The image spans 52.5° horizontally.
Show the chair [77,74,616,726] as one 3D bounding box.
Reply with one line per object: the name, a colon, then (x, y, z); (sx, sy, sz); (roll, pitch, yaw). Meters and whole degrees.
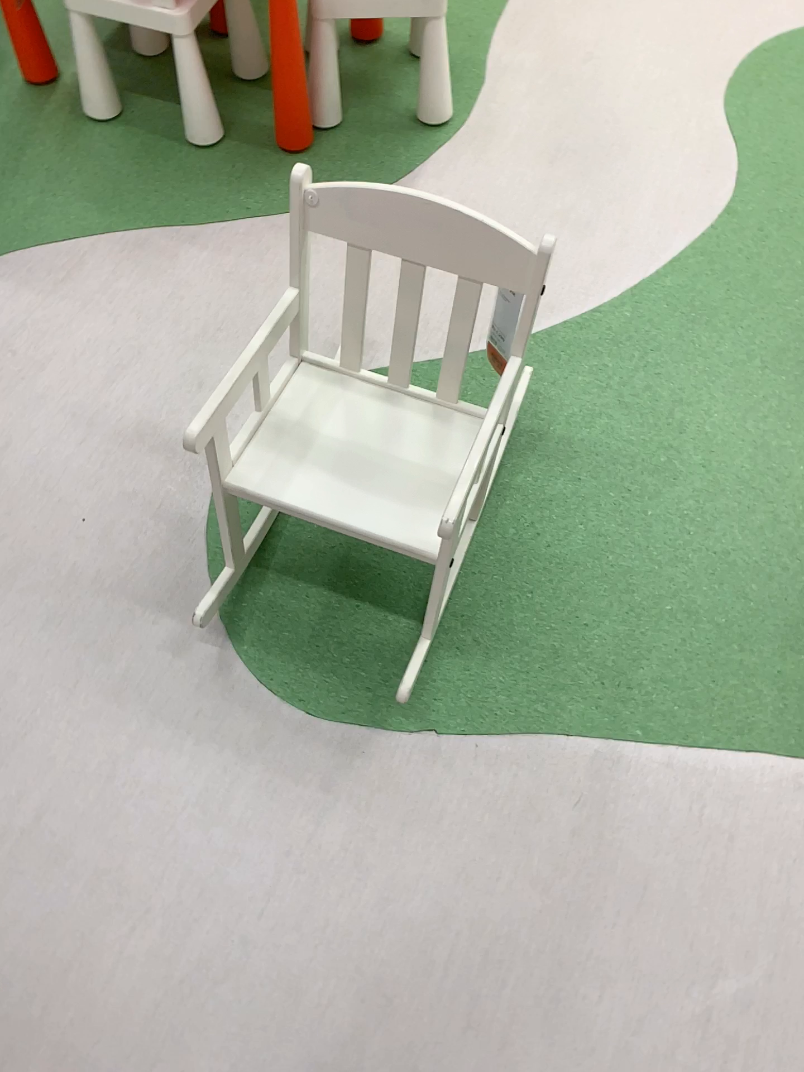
chair: (-0.030, -0.194, 1.221); (0.410, 0.499, 0.731); (19, 63, 9)
